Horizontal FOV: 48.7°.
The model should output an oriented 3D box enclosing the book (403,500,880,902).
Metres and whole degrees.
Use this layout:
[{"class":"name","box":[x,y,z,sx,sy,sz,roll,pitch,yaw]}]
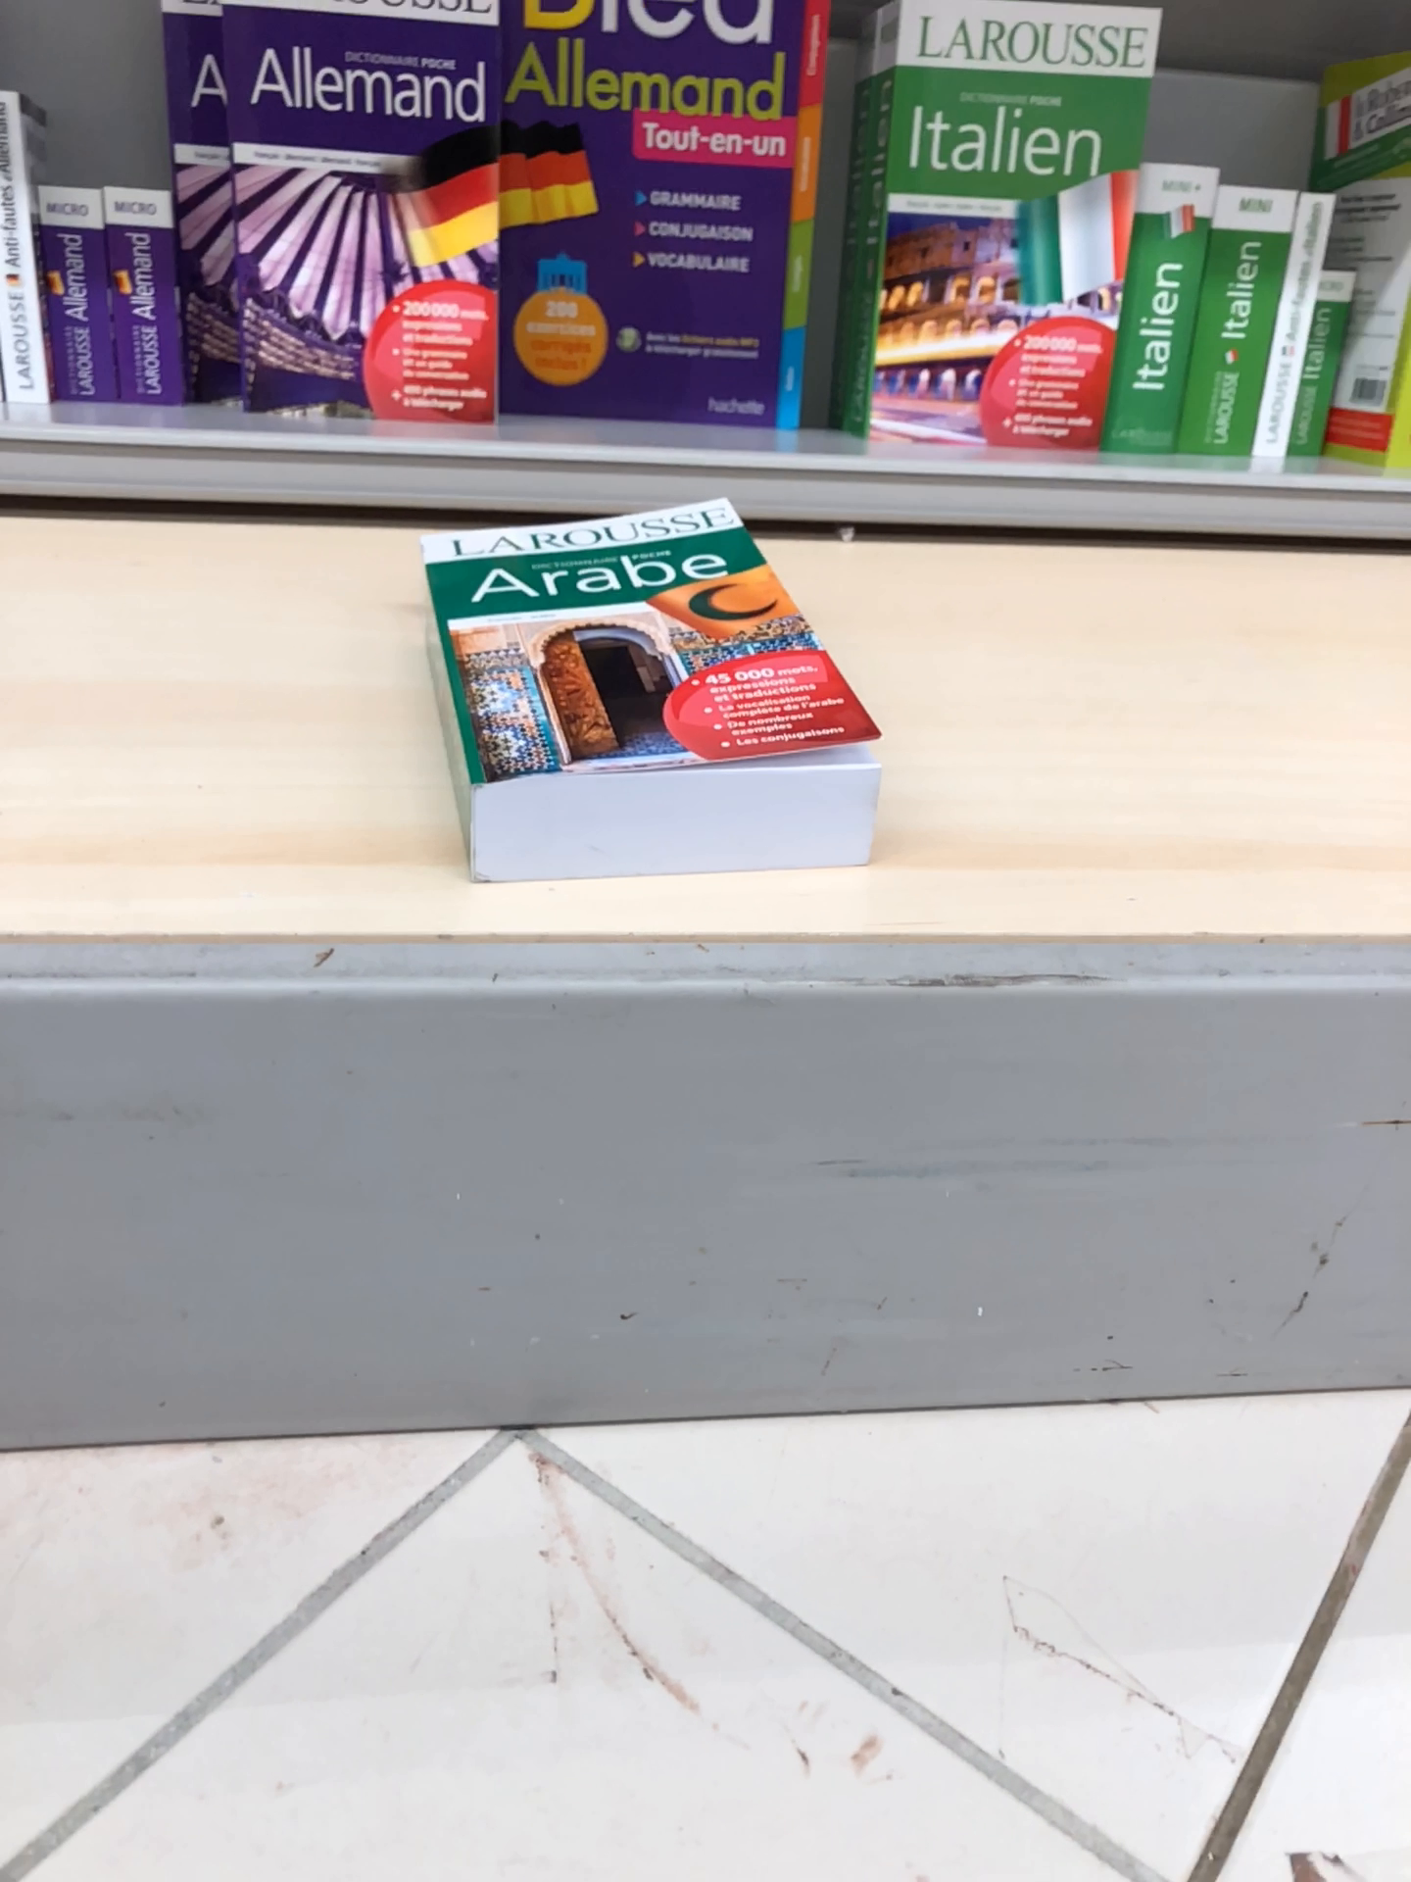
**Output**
[{"class":"book","box":[-0.030,-0.080,0.464,0.111,0.045,0.183,-2,33,-12]}]
